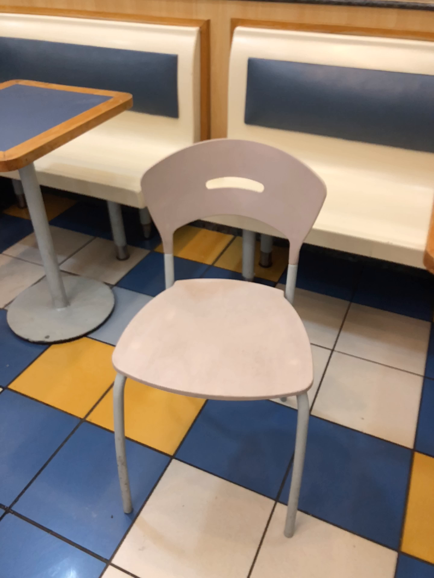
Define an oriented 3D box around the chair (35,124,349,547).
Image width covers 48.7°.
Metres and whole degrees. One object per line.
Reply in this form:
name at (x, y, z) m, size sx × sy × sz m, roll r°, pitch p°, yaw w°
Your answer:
chair at (-0.003, 0.110, 1.091) m, size 0.450 × 0.794 × 0.474 m, roll 6°, pitch 36°, yaw 8°
